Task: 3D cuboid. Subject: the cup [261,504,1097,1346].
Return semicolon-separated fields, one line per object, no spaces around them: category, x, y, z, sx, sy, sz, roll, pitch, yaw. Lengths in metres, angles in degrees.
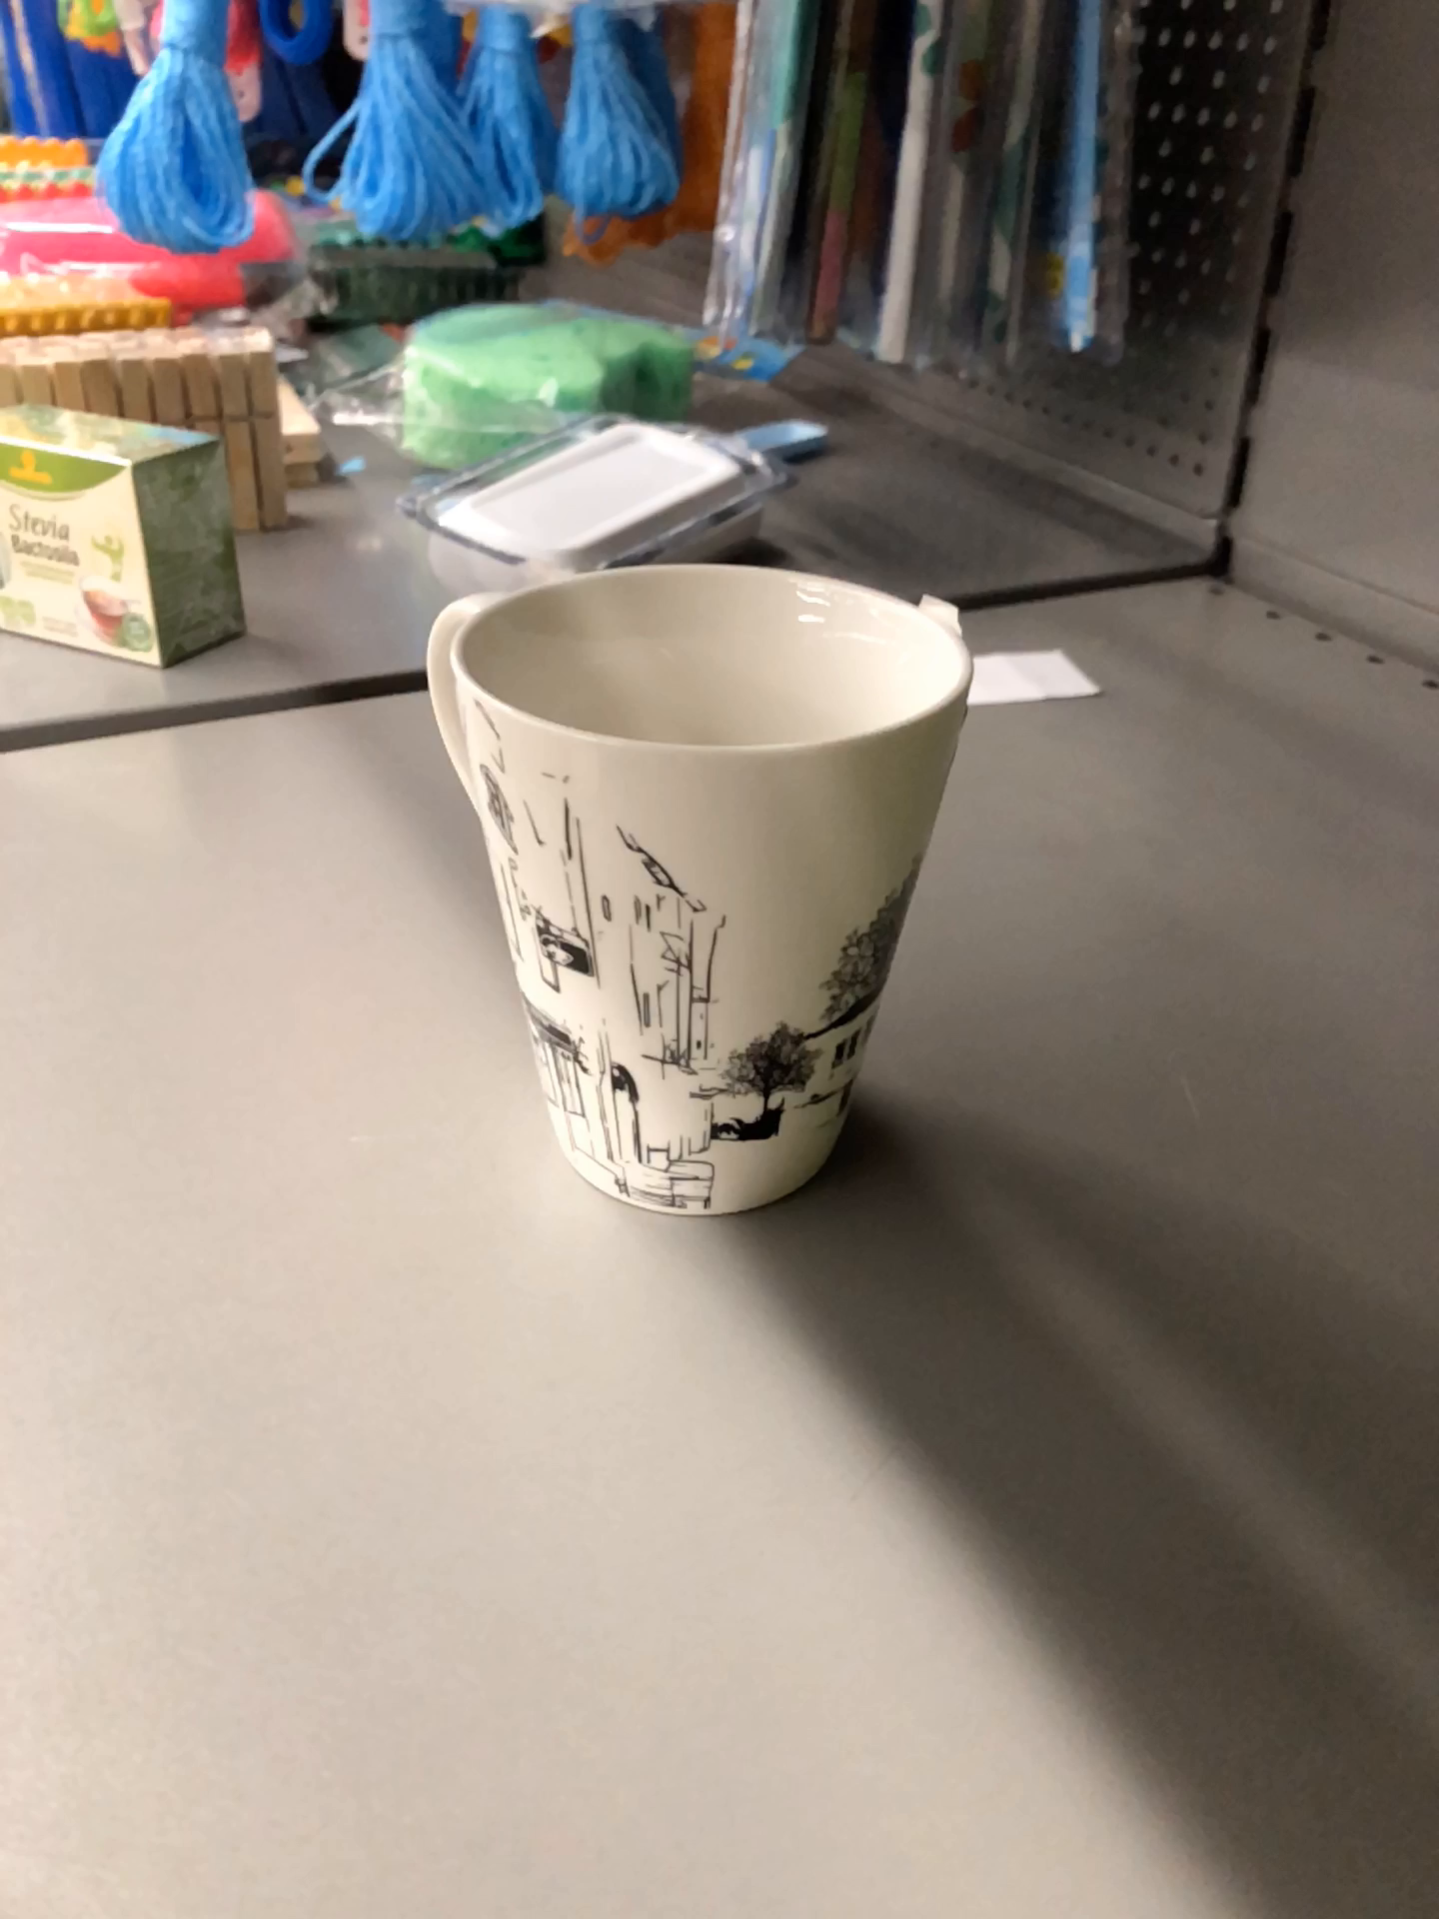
cup;-0.011;-0.017;0.296;0.091;0.098;0.115;-21;36;-35
